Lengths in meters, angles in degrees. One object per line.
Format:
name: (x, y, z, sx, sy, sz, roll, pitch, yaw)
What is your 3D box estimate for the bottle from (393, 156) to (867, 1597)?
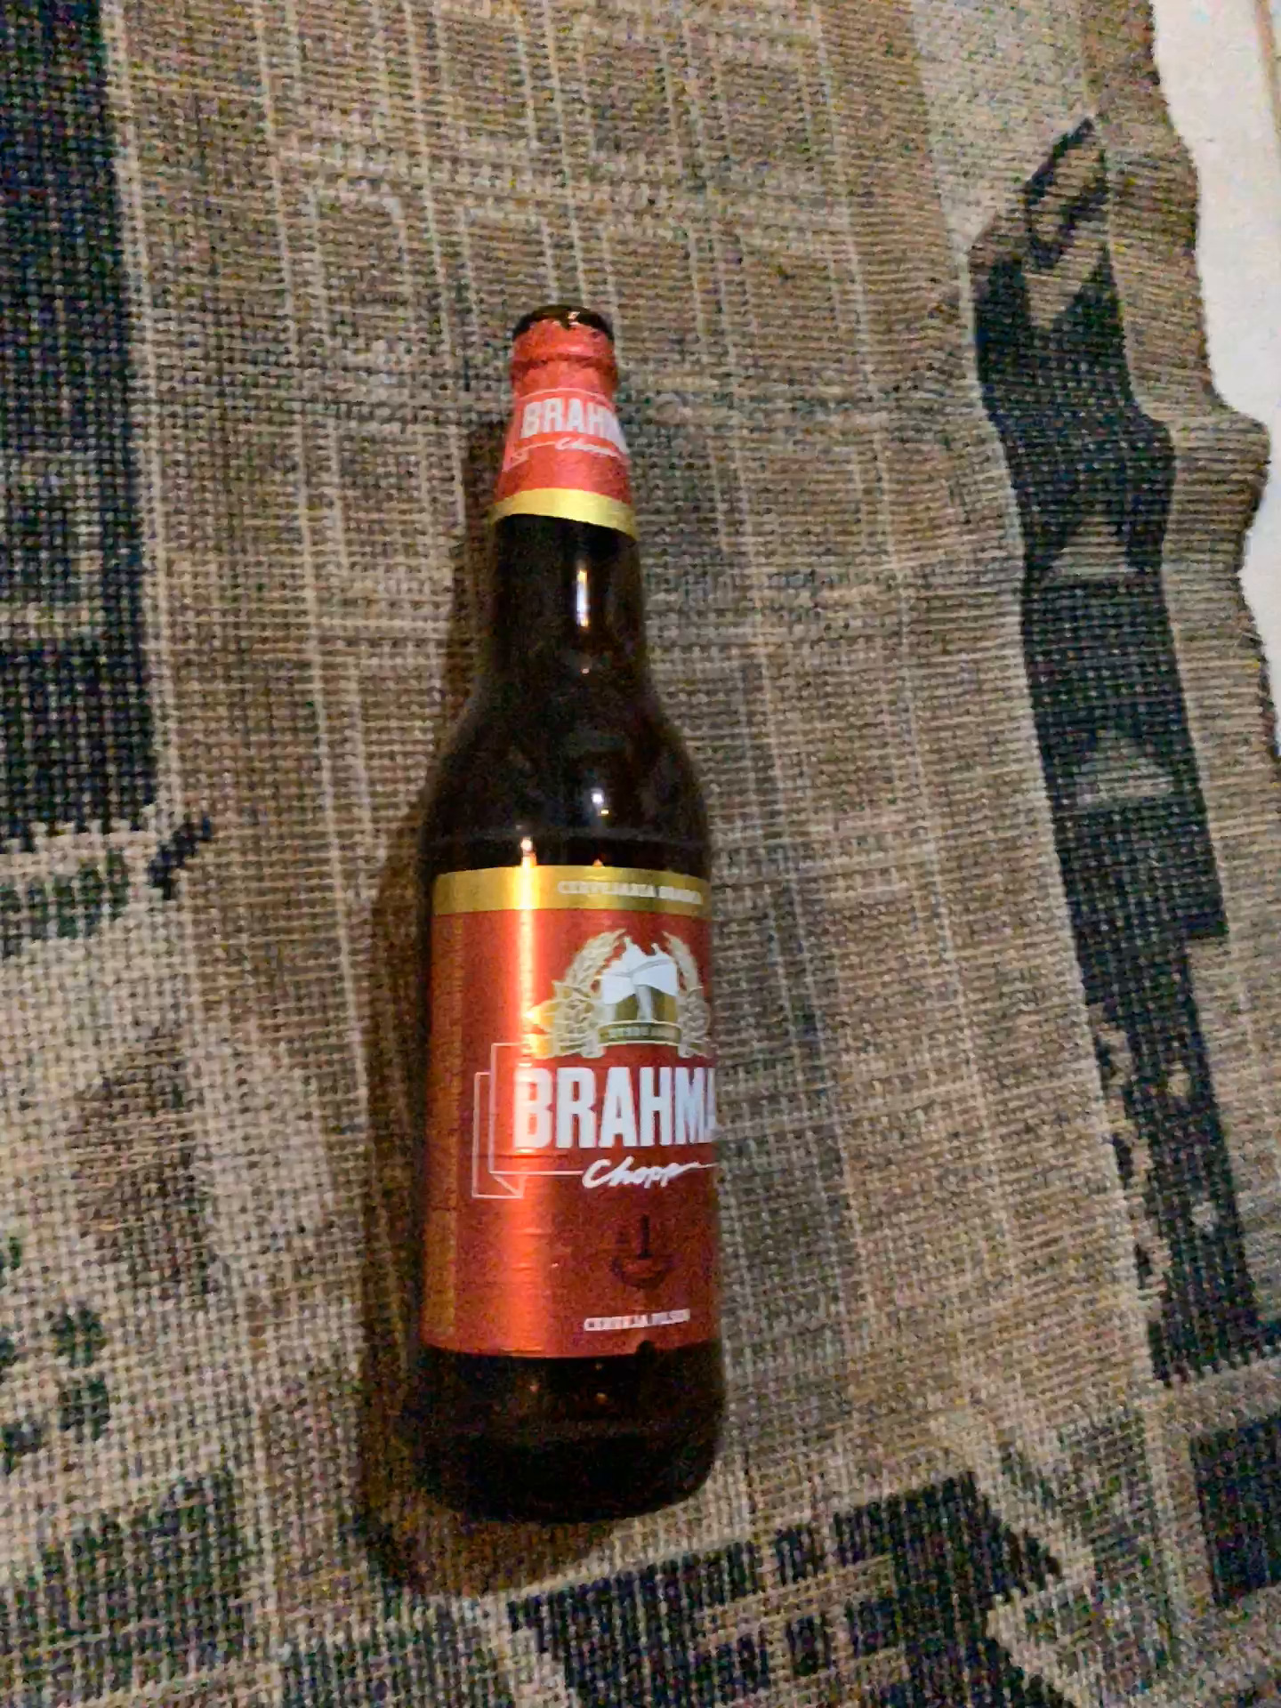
bottle: (-0.006, -0.002, 0.297, 0.080, 0.060, 0.280, 4, 79, -25)
